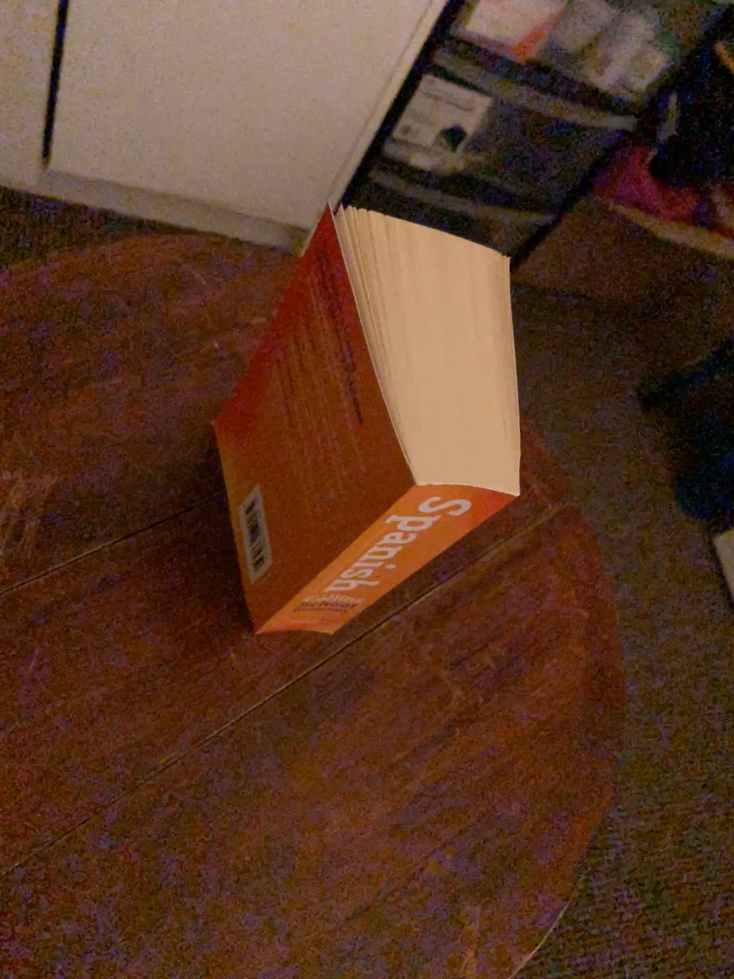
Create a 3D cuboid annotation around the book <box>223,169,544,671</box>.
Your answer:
[{"bbox_3d":[-0.004,-0.015,0.314,0.080,0.149,0.141,8,63,-13],"label":"book"}]
